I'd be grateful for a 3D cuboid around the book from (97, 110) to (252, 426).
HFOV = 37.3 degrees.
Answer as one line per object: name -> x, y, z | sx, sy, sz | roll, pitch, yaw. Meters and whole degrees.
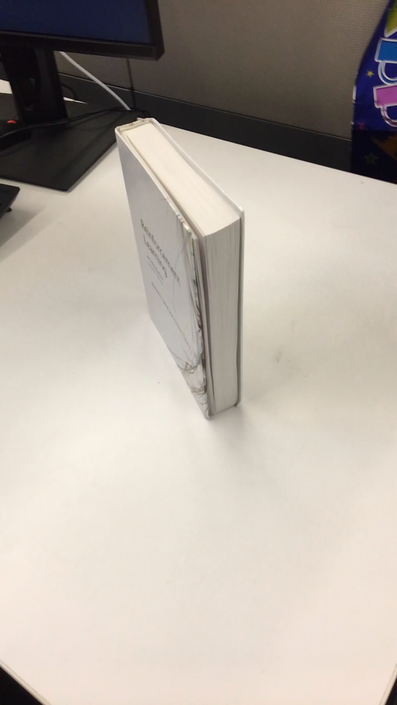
book -> -0.018, -0.072, 0.548 | 0.050, 0.230, 0.180 | -22, 50, -13
